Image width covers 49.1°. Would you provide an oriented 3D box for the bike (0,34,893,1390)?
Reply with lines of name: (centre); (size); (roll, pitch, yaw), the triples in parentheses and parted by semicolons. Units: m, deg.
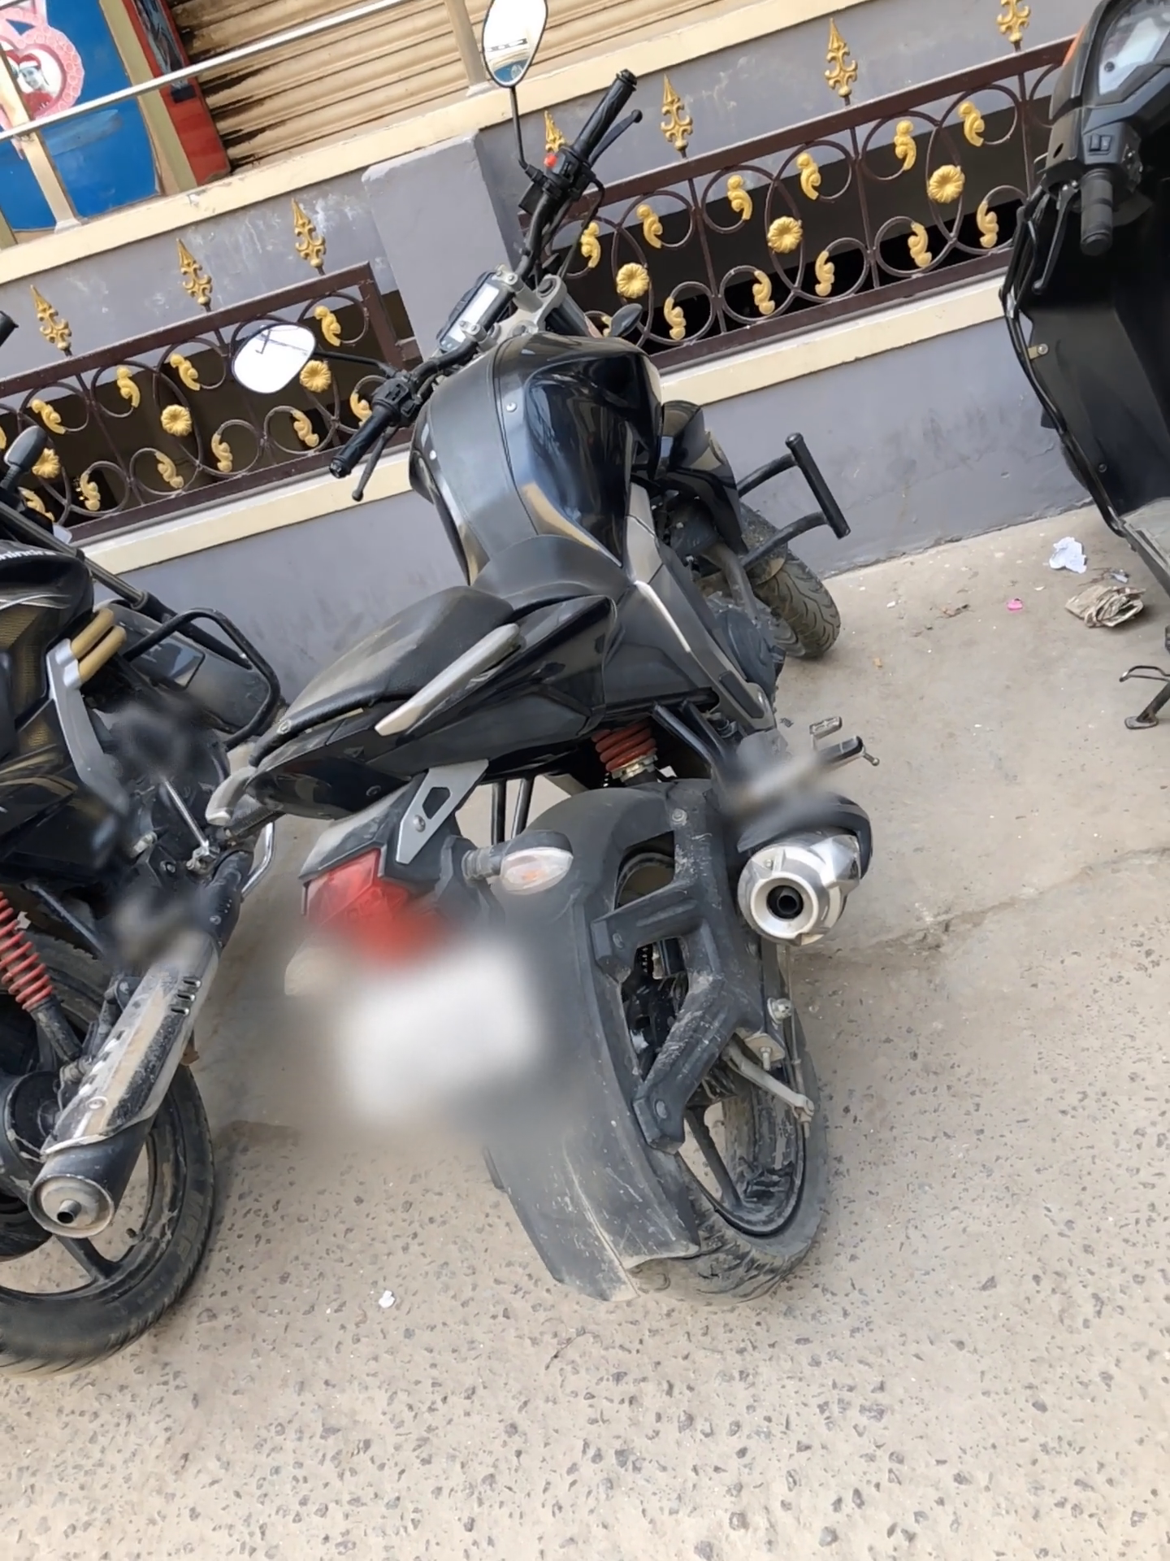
bike: (-0.149, -0.289, 1.924); (0.693, 1.197, 1.766); (-13, 32, 10)
